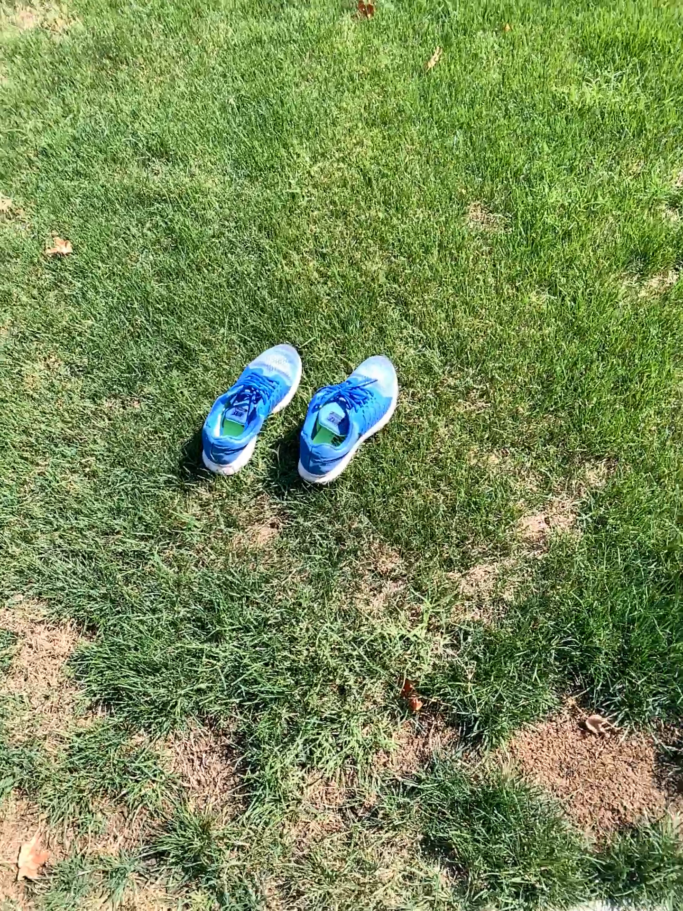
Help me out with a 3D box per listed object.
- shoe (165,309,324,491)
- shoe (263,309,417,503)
[{"bbox_3d":[-0.165,-0.103,1.254,0.120,0.120,0.290,26,66,19],"label":"shoe"},{"bbox_3d":[0.008,-0.090,1.236,0.130,0.140,0.290,26,66,19],"label":"shoe"}]
